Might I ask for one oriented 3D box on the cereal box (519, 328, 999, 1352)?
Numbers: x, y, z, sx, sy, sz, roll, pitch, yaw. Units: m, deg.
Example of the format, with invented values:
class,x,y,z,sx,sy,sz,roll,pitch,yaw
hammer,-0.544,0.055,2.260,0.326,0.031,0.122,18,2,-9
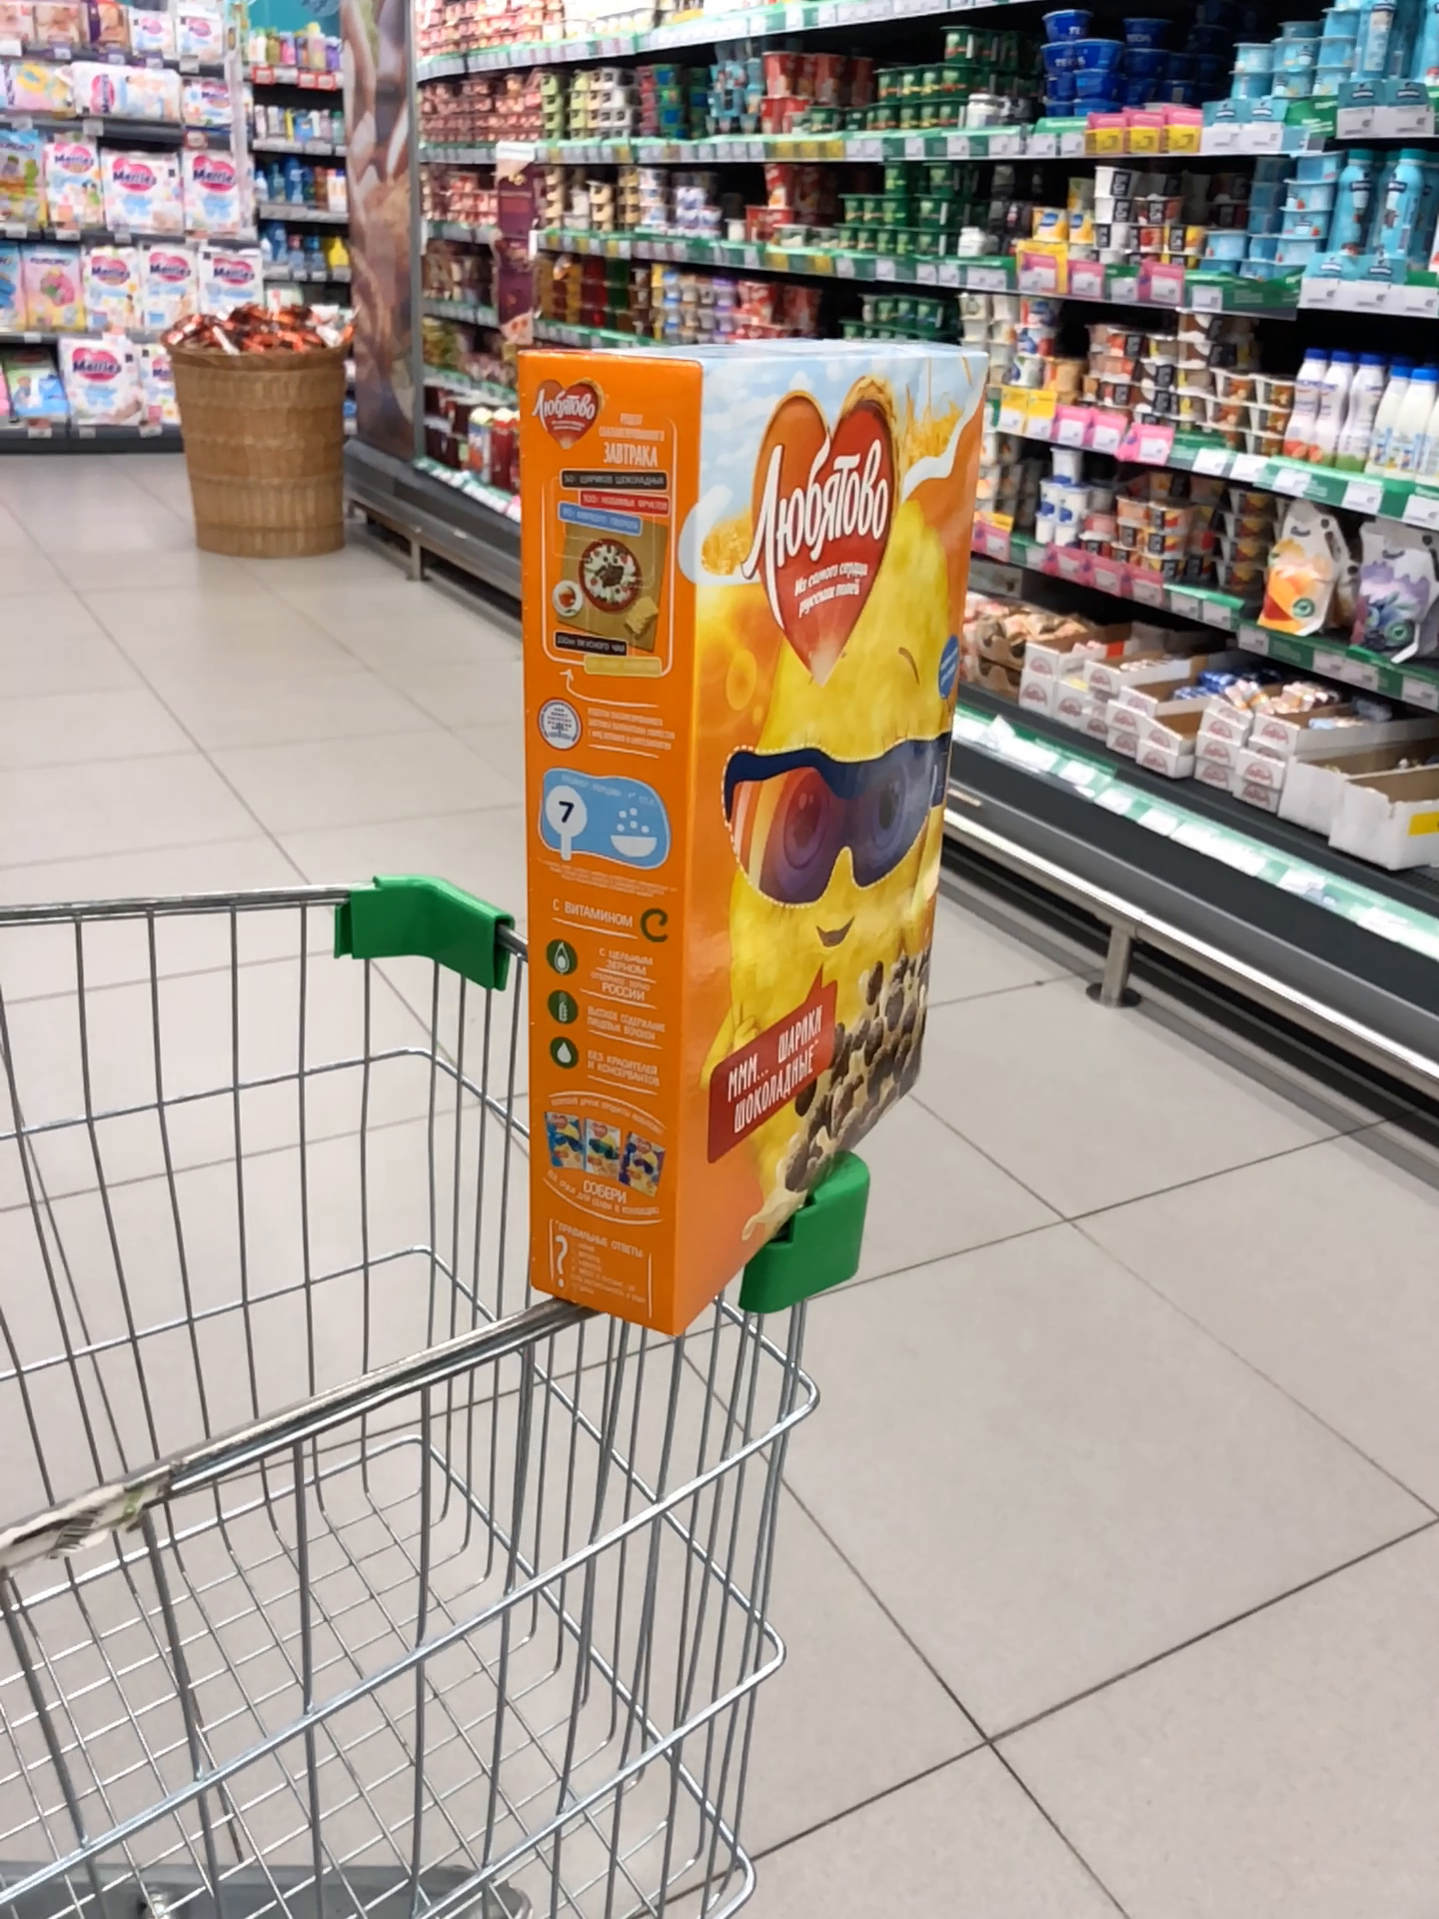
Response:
class,x,y,z,sx,sy,sz,roll,pitch,yaw
cereal box,0.017,-0.049,0.480,0.050,0.259,0.201,12,23,24
